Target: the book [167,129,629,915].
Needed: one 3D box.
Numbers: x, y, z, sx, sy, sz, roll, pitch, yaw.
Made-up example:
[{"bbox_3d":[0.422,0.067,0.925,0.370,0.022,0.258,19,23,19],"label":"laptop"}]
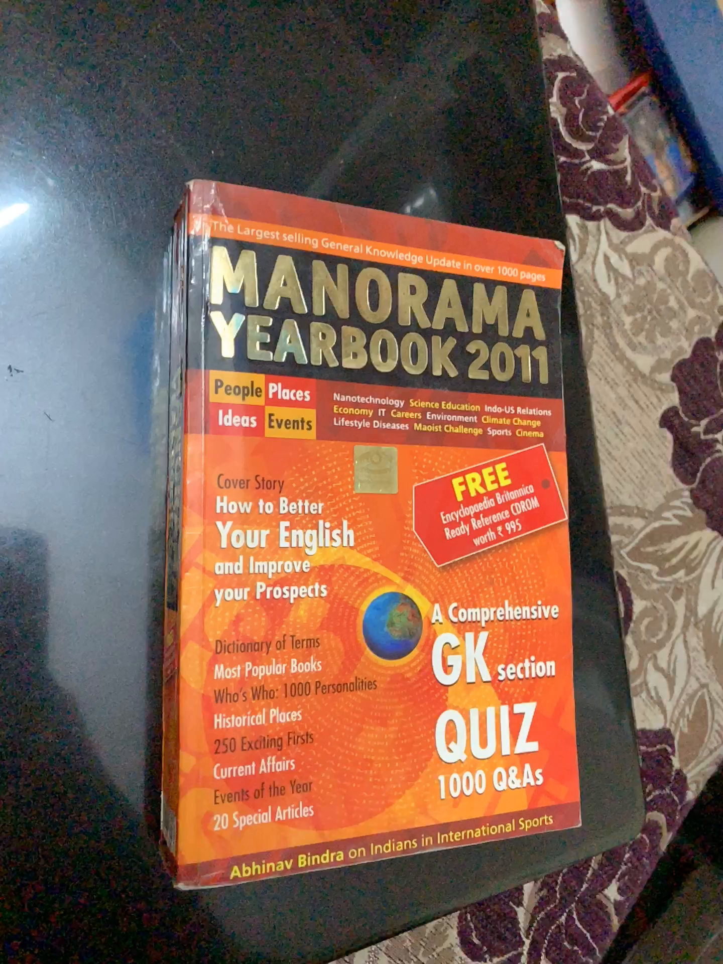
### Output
[{"bbox_3d":[0.012,0.009,0.253,0.140,0.050,0.210,2,82,-25],"label":"book"}]
